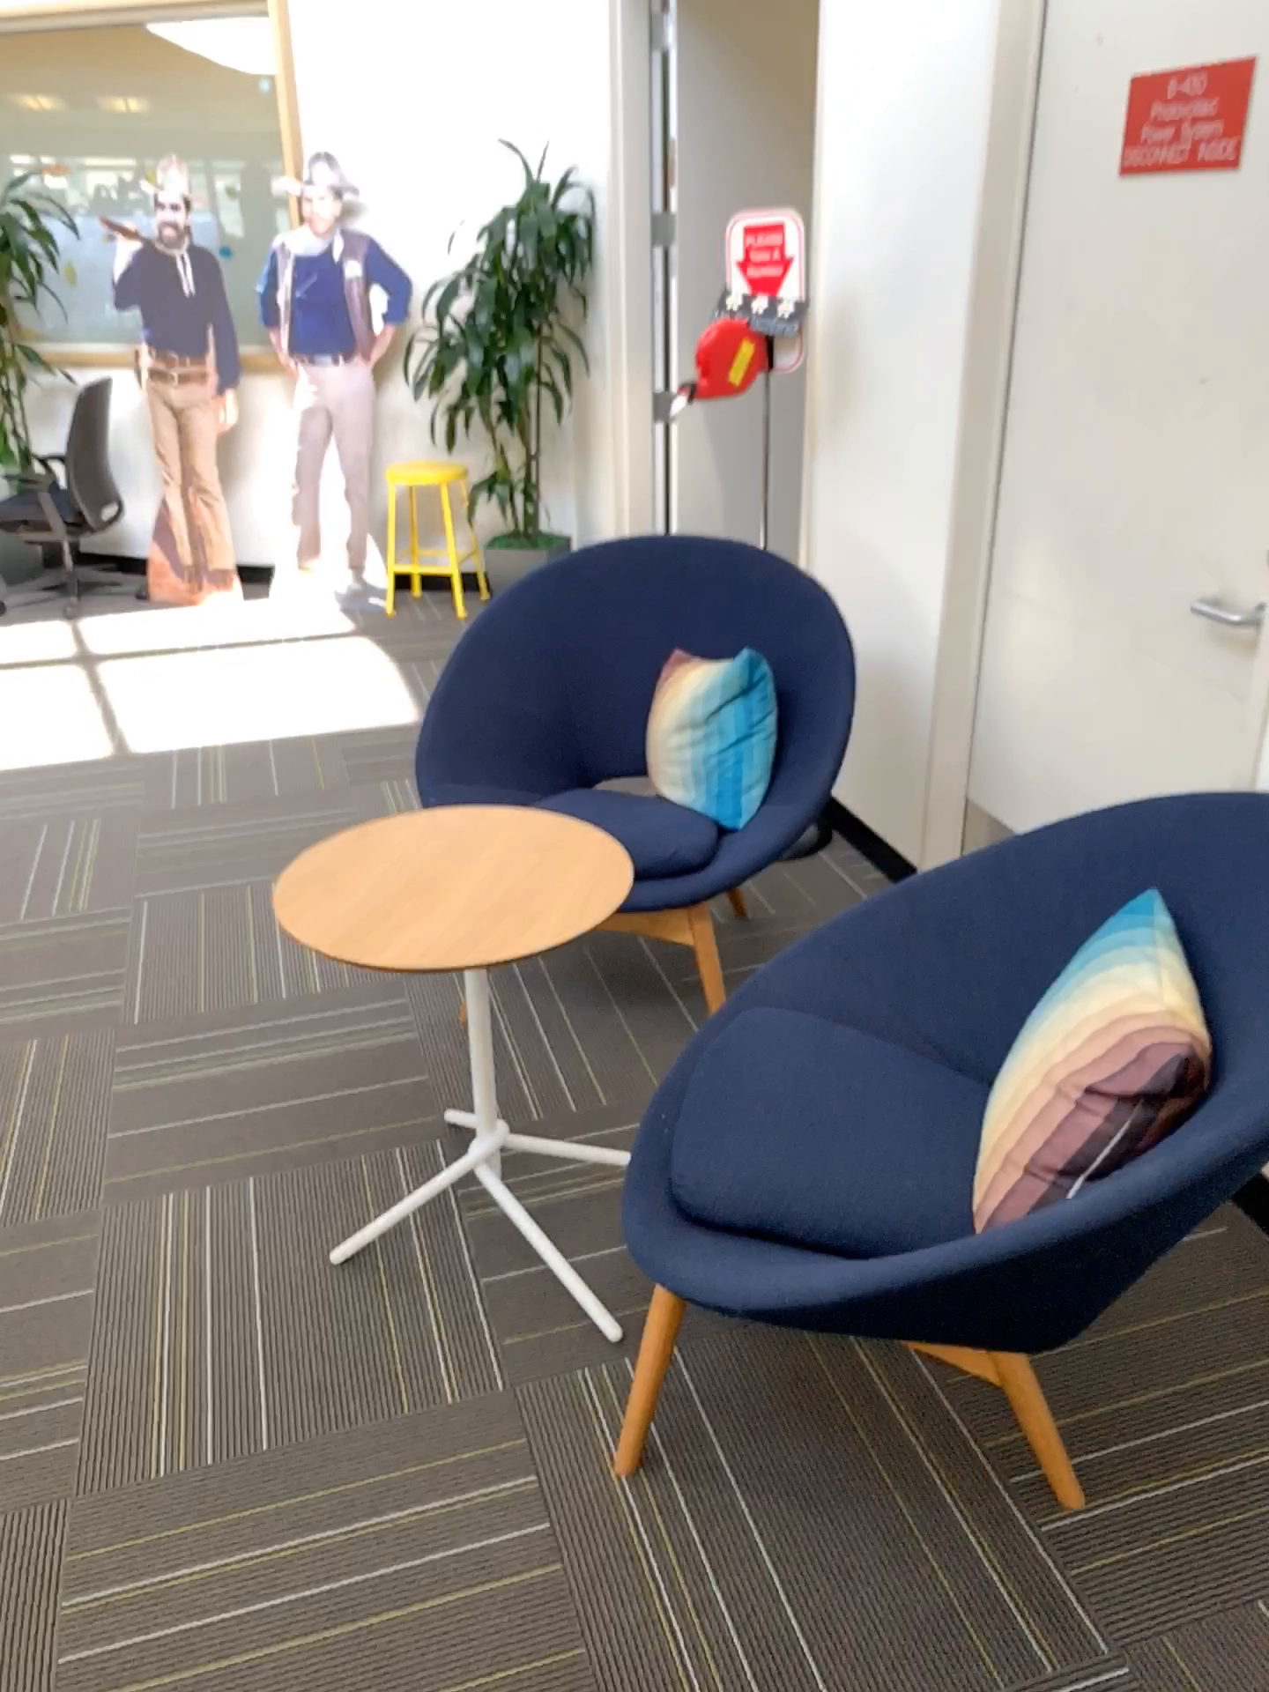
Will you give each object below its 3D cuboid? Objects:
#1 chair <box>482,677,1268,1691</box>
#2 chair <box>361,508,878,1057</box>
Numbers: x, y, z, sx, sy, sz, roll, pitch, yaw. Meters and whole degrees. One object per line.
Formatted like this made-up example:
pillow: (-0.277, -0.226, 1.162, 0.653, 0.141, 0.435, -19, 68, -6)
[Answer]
chair: (0.462, 0.405, 1.746, 0.982, 0.945, 0.833, 10, 27, 22)
chair: (0.020, -0.203, 2.811, 0.791, 0.835, 0.843, 9, 27, 20)
